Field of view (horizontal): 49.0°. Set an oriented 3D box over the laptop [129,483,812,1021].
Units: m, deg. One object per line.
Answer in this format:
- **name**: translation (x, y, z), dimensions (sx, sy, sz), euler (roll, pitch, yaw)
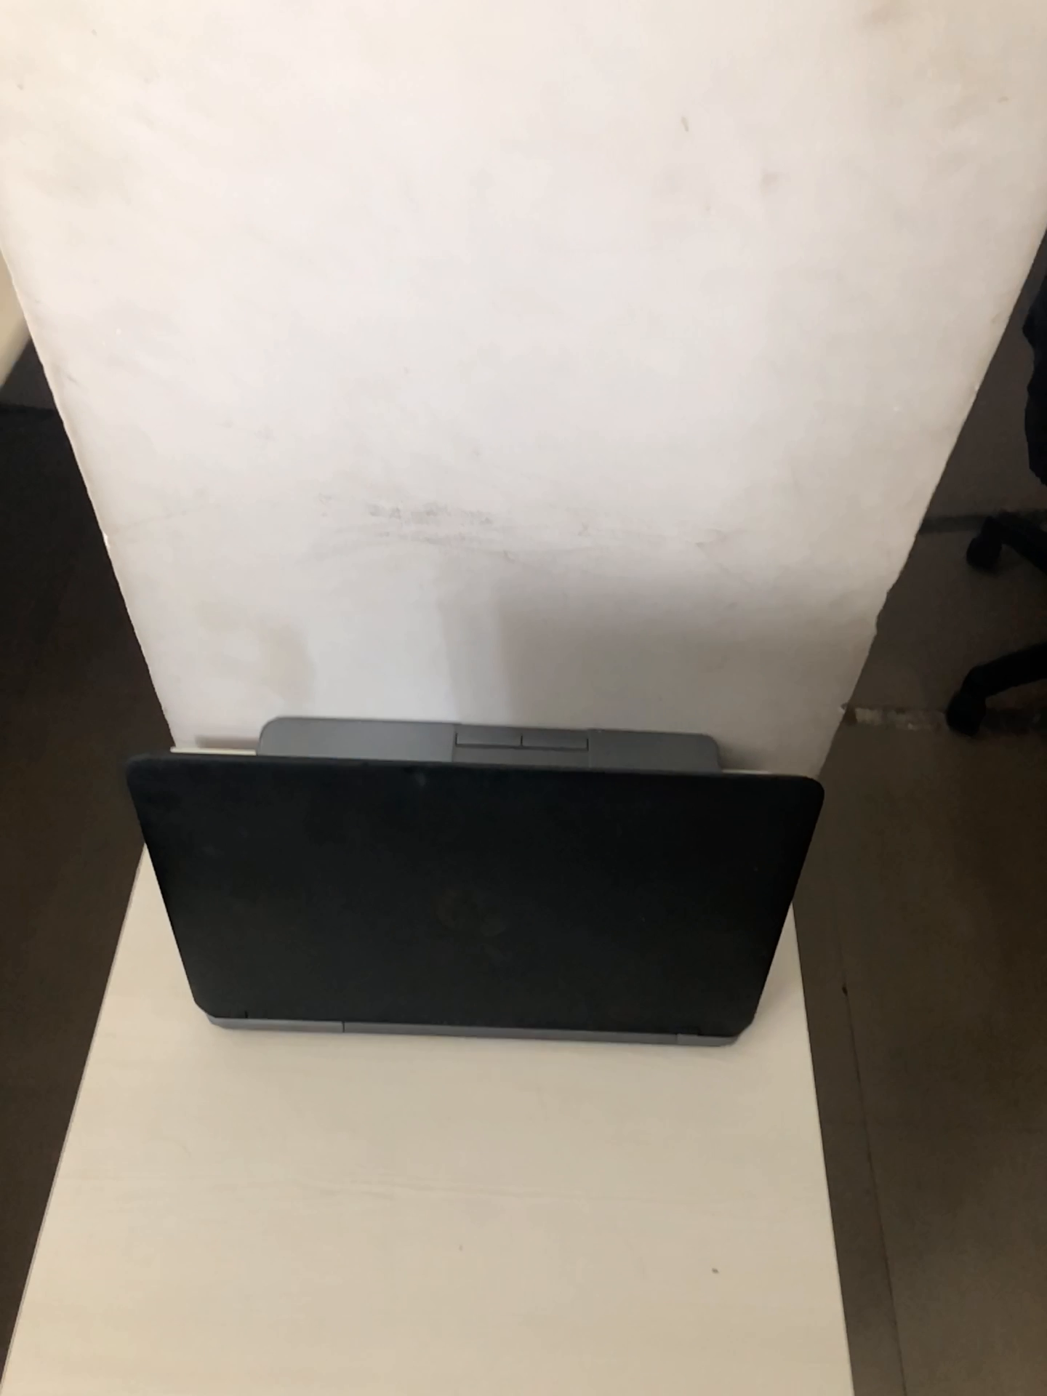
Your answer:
- **laptop**: translation (-0.022, 0.040, 0.680), dimensions (0.317, 0.226, 0.205), euler (3, 54, 0)
